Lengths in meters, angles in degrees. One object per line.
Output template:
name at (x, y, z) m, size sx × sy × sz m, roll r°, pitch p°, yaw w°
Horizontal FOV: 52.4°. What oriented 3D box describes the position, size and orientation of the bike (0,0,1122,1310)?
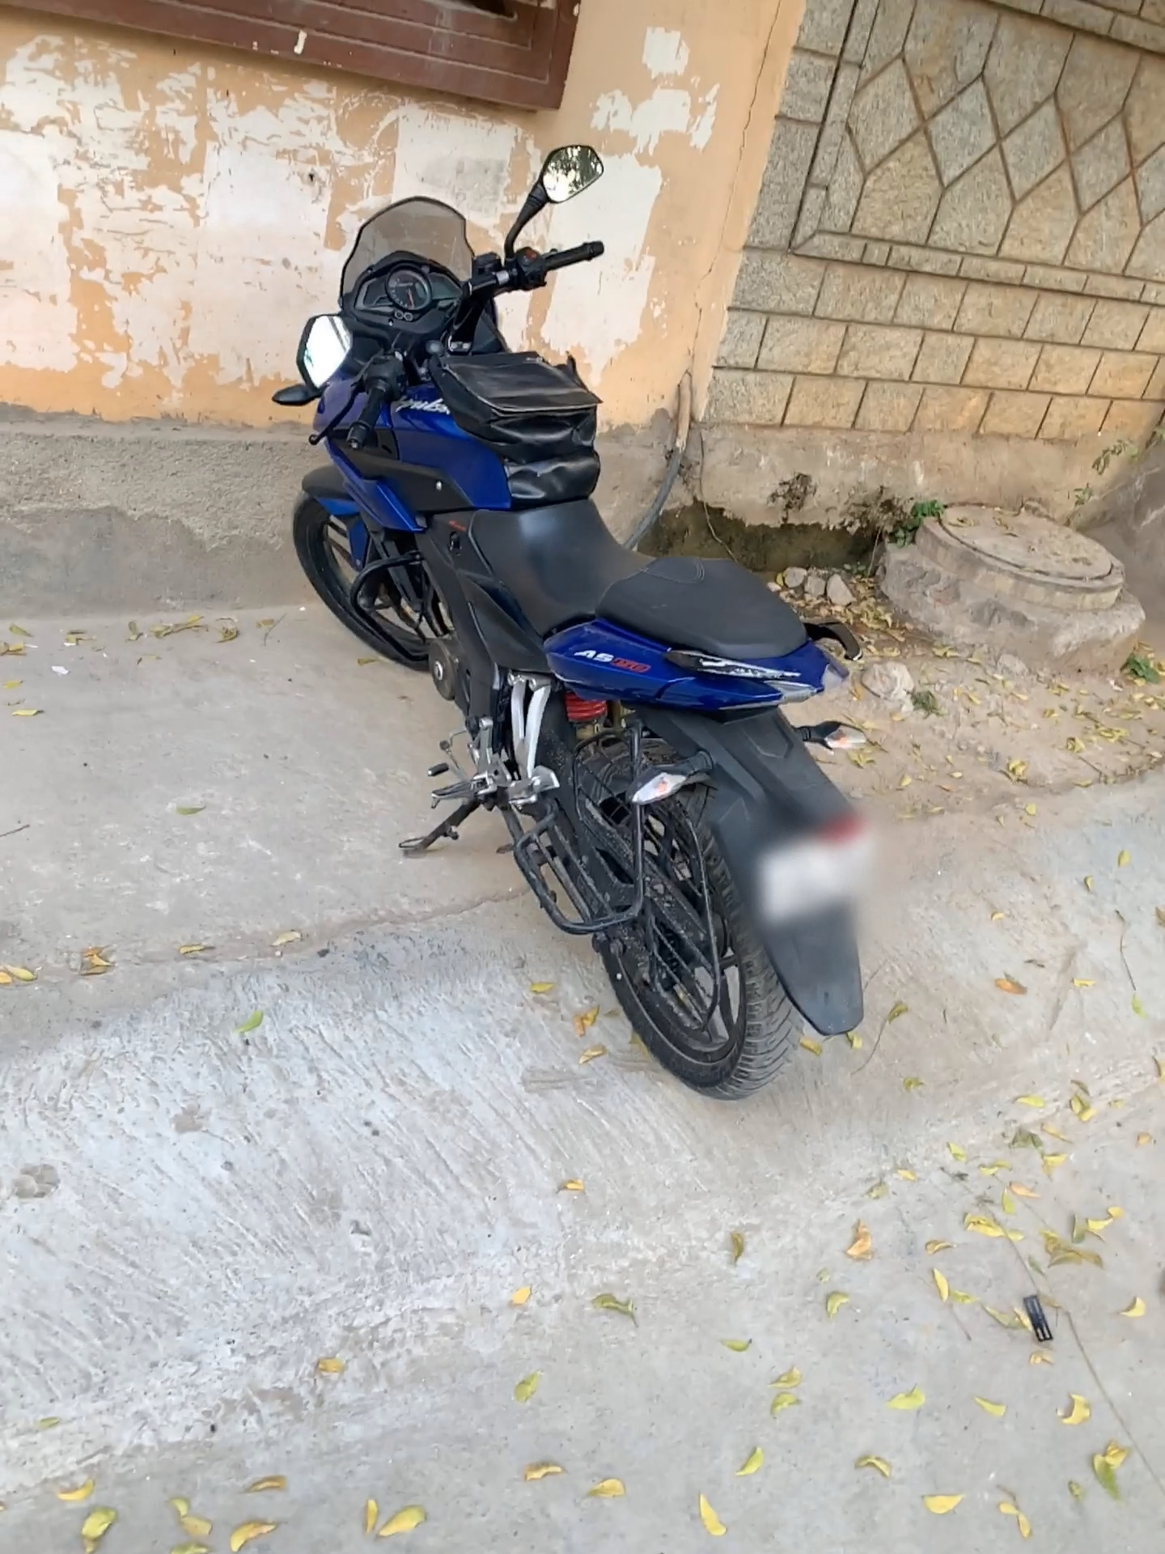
bike at (-0.277, -0.339, 1.987) m, size 0.955 × 1.219 × 1.569 m, roll -14°, pitch 48°, yaw -37°
